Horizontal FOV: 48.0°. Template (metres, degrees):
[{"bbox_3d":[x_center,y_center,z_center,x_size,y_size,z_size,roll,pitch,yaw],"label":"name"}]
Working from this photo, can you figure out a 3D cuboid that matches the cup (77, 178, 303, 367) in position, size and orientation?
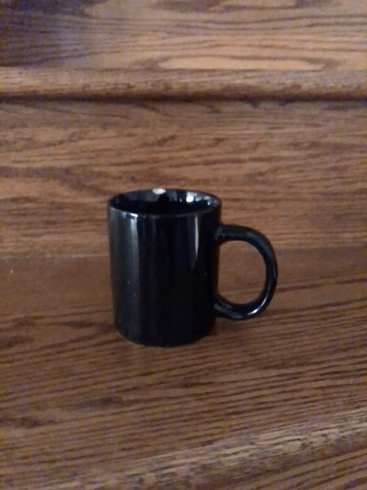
[{"bbox_3d":[0.009,0.011,0.300,0.136,0.095,0.092,5,21,11],"label":"cup"}]
